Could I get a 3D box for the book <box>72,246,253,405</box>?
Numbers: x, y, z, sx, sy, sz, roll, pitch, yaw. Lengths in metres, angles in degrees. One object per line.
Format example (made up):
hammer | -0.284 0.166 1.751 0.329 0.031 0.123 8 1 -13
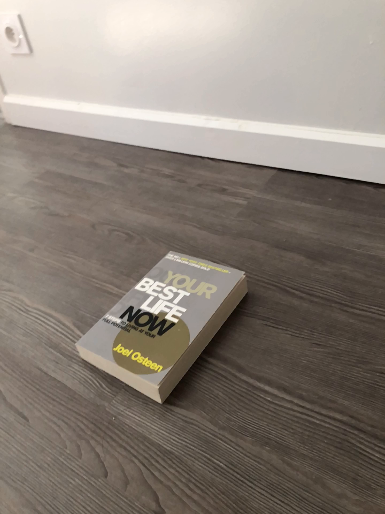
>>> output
book | -0.031 0.072 0.545 0.136 0.030 0.202 18 46 30
